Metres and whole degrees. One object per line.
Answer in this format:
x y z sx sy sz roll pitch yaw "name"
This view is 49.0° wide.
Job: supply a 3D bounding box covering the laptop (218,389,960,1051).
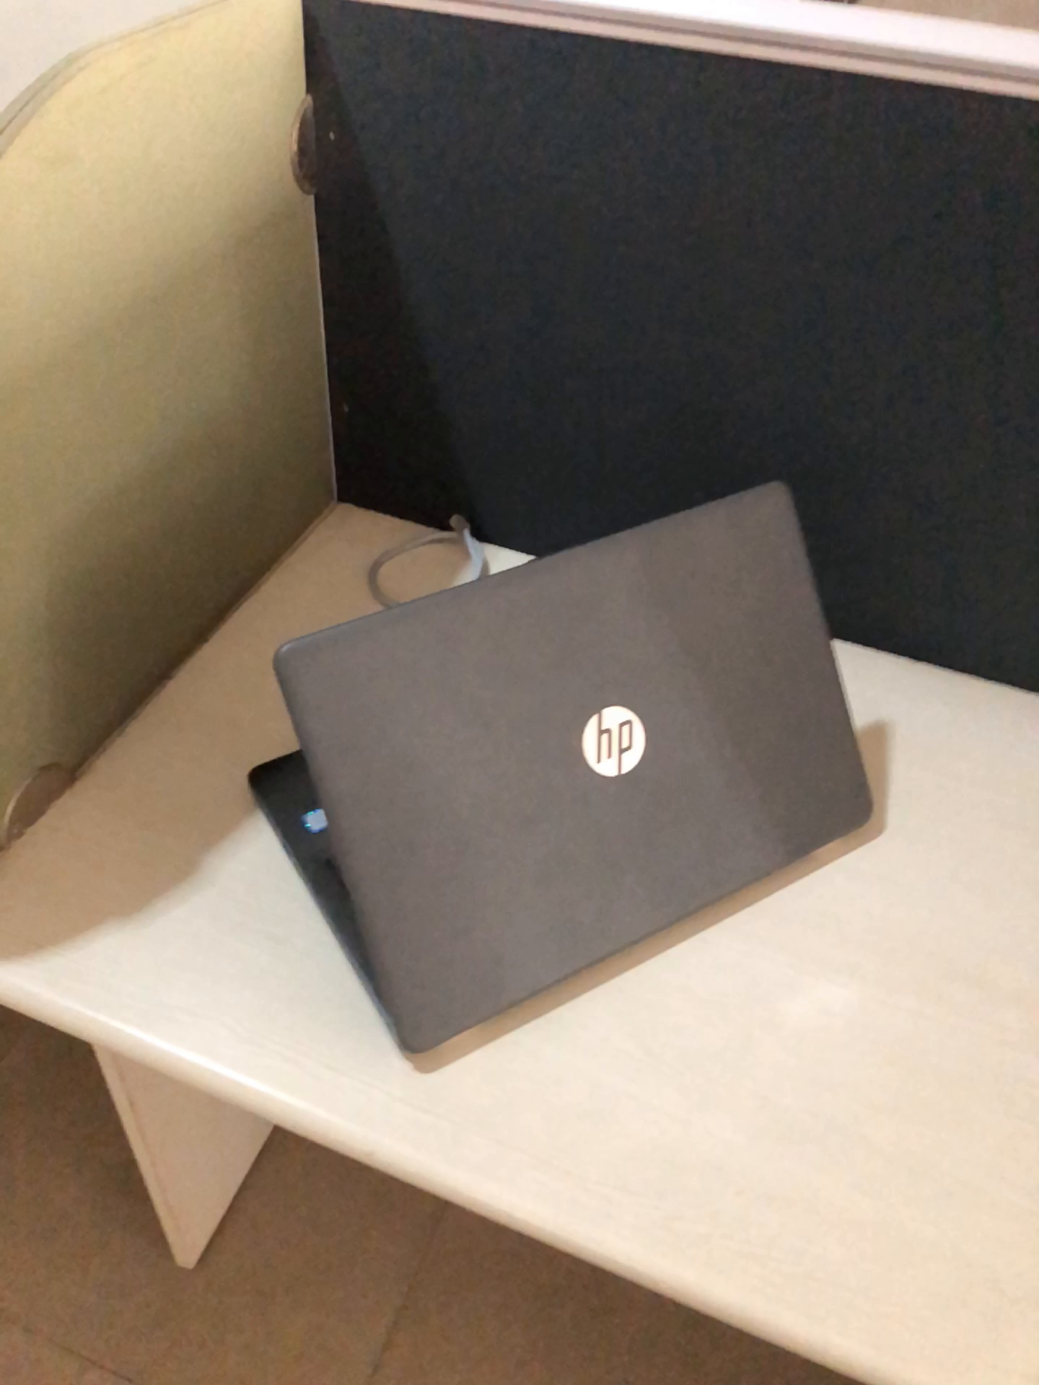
0.036 -0.004 0.741 0.361 0.204 0.248 -22 49 -24 "laptop"
